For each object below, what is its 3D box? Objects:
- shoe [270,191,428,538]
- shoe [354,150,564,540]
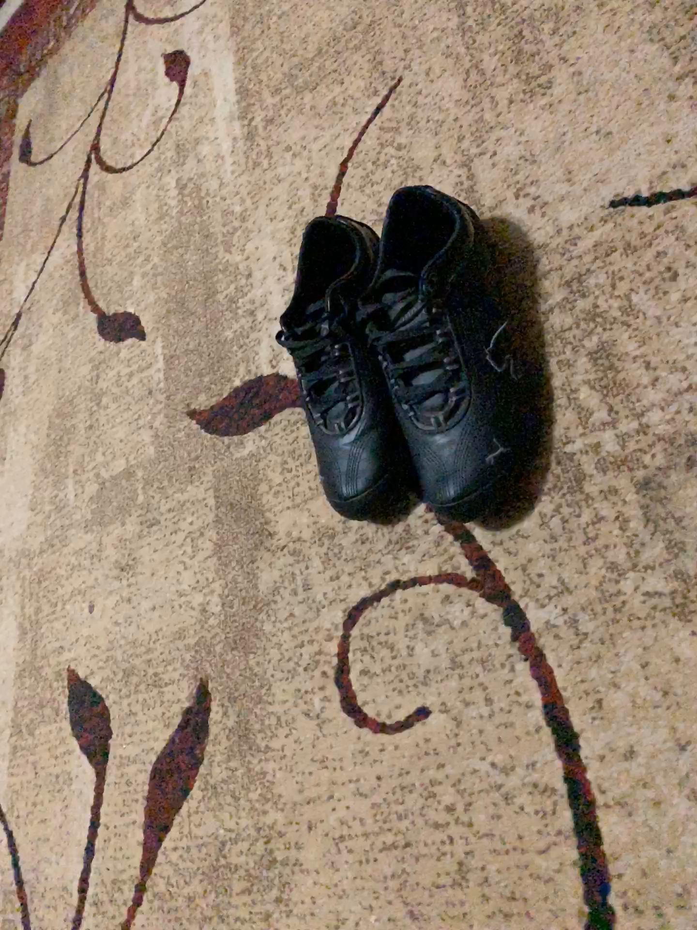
[{"bbox_3d":[0.000,-0.076,0.553,0.086,0.073,0.244,-16,64,36],"label":"shoe"},{"bbox_3d":[0.070,-0.082,0.493,0.088,0.073,0.244,-21,61,34],"label":"shoe"}]
